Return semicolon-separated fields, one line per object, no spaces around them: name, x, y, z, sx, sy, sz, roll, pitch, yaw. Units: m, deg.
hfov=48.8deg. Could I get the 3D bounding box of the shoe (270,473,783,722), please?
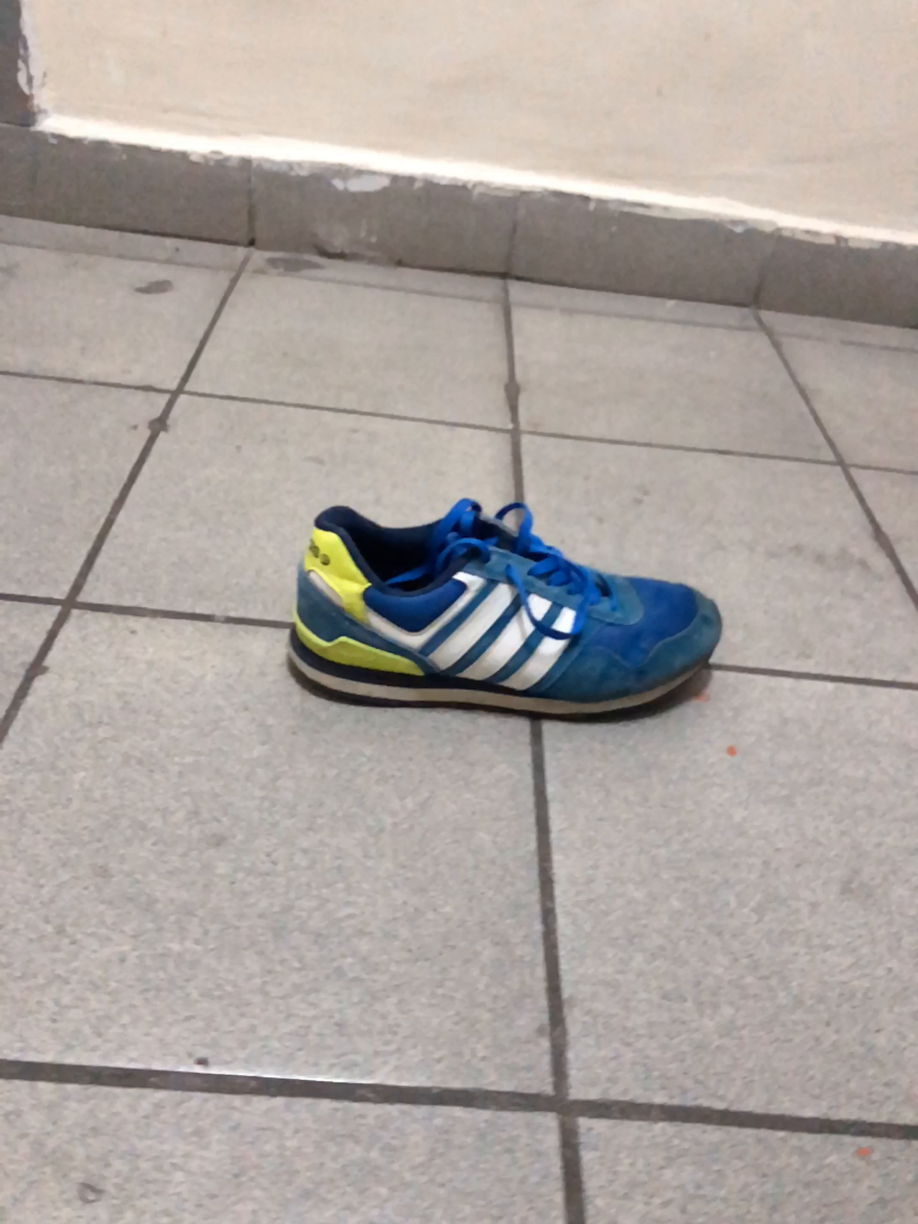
shoe;0.032;-0.008;0.636;0.292;0.099;0.111;2;38;-8
